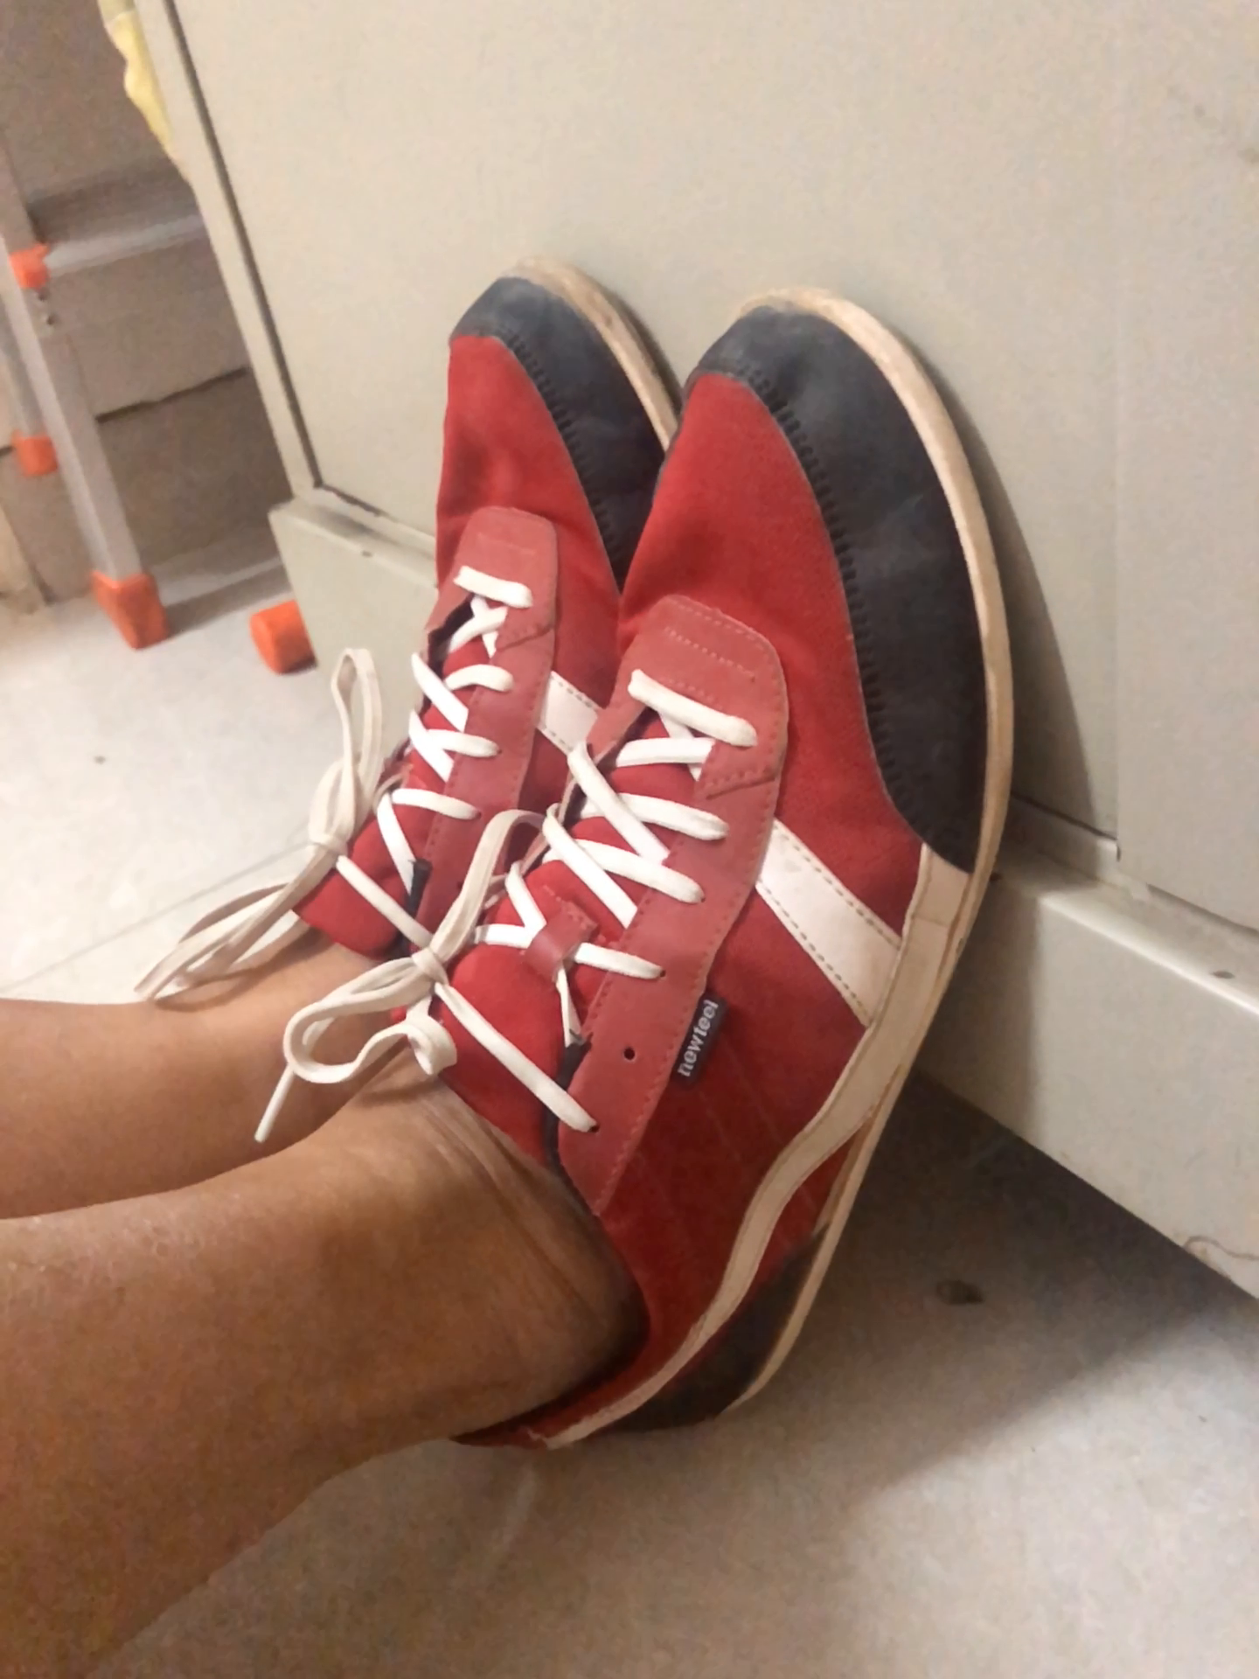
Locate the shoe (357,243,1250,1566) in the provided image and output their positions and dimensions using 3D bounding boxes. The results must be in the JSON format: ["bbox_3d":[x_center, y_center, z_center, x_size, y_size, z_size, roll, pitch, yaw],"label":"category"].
[{"bbox_3d":[0.027,0.011,0.311,0.080,0.249,0.101,6,16,-41],"label":"shoe"}]

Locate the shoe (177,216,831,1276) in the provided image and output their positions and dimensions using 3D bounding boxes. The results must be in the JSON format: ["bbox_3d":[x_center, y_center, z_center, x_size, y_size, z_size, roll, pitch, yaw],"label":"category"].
[{"bbox_3d":[-0.036,-0.026,0.359,0.100,0.230,0.080,17,10,38],"label":"shoe"}]
